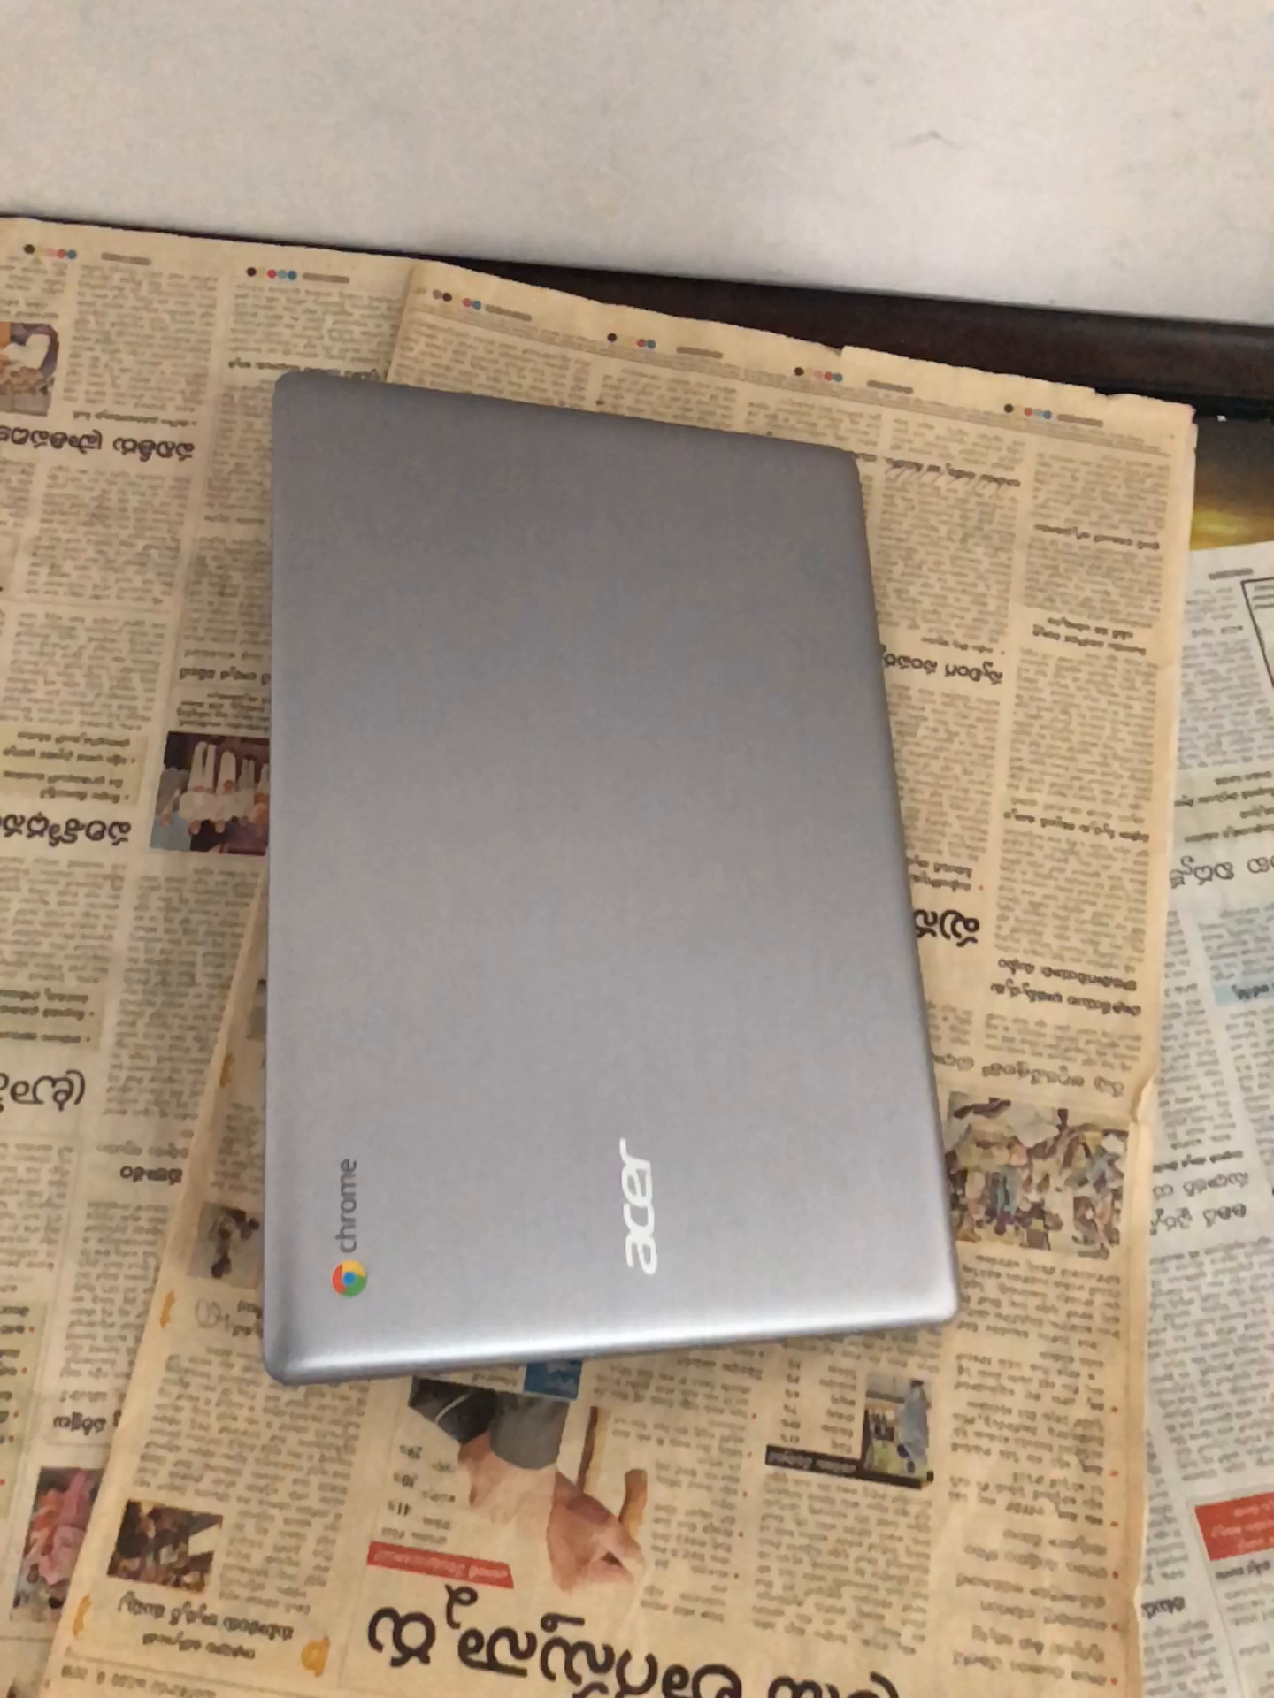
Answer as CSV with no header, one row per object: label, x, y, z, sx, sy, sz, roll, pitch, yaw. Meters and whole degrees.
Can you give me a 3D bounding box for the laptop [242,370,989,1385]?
laptop,-0.016,-0.003,0.473,0.210,0.058,0.331,-2,72,-4
